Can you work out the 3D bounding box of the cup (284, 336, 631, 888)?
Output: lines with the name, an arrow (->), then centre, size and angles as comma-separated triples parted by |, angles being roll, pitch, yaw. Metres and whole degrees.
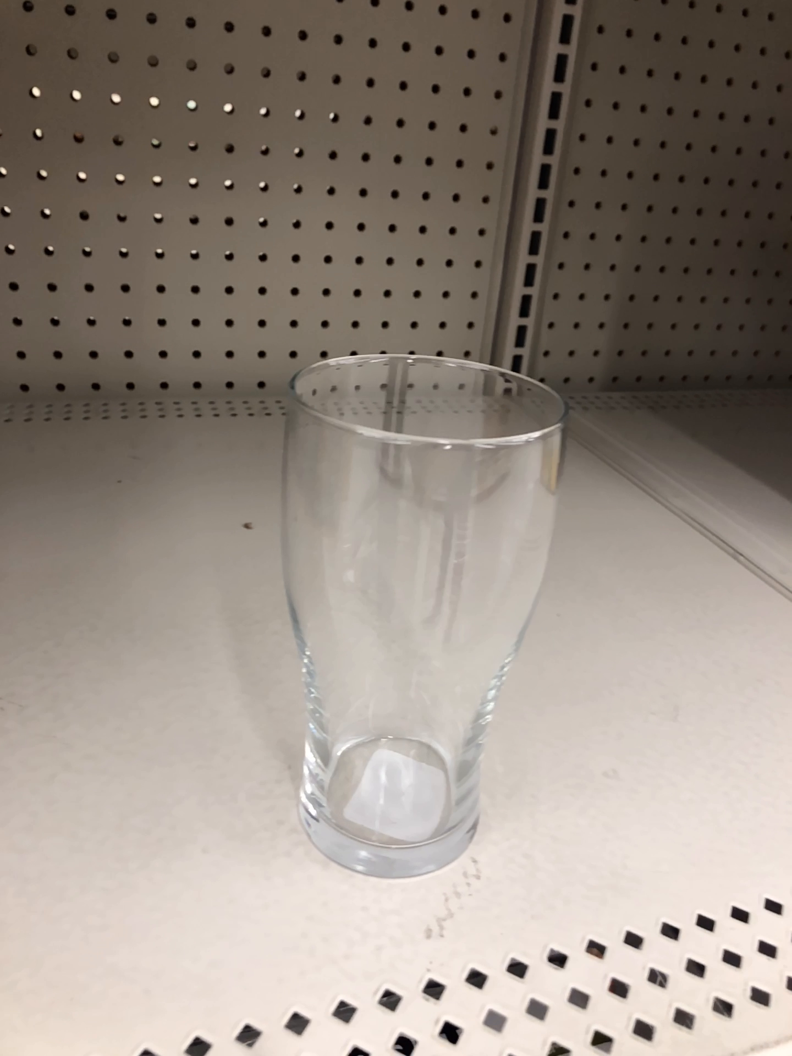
cup -> 0.007, 0.023, 0.262 | 0.076, 0.138, 0.081 | 4, 26, -2
